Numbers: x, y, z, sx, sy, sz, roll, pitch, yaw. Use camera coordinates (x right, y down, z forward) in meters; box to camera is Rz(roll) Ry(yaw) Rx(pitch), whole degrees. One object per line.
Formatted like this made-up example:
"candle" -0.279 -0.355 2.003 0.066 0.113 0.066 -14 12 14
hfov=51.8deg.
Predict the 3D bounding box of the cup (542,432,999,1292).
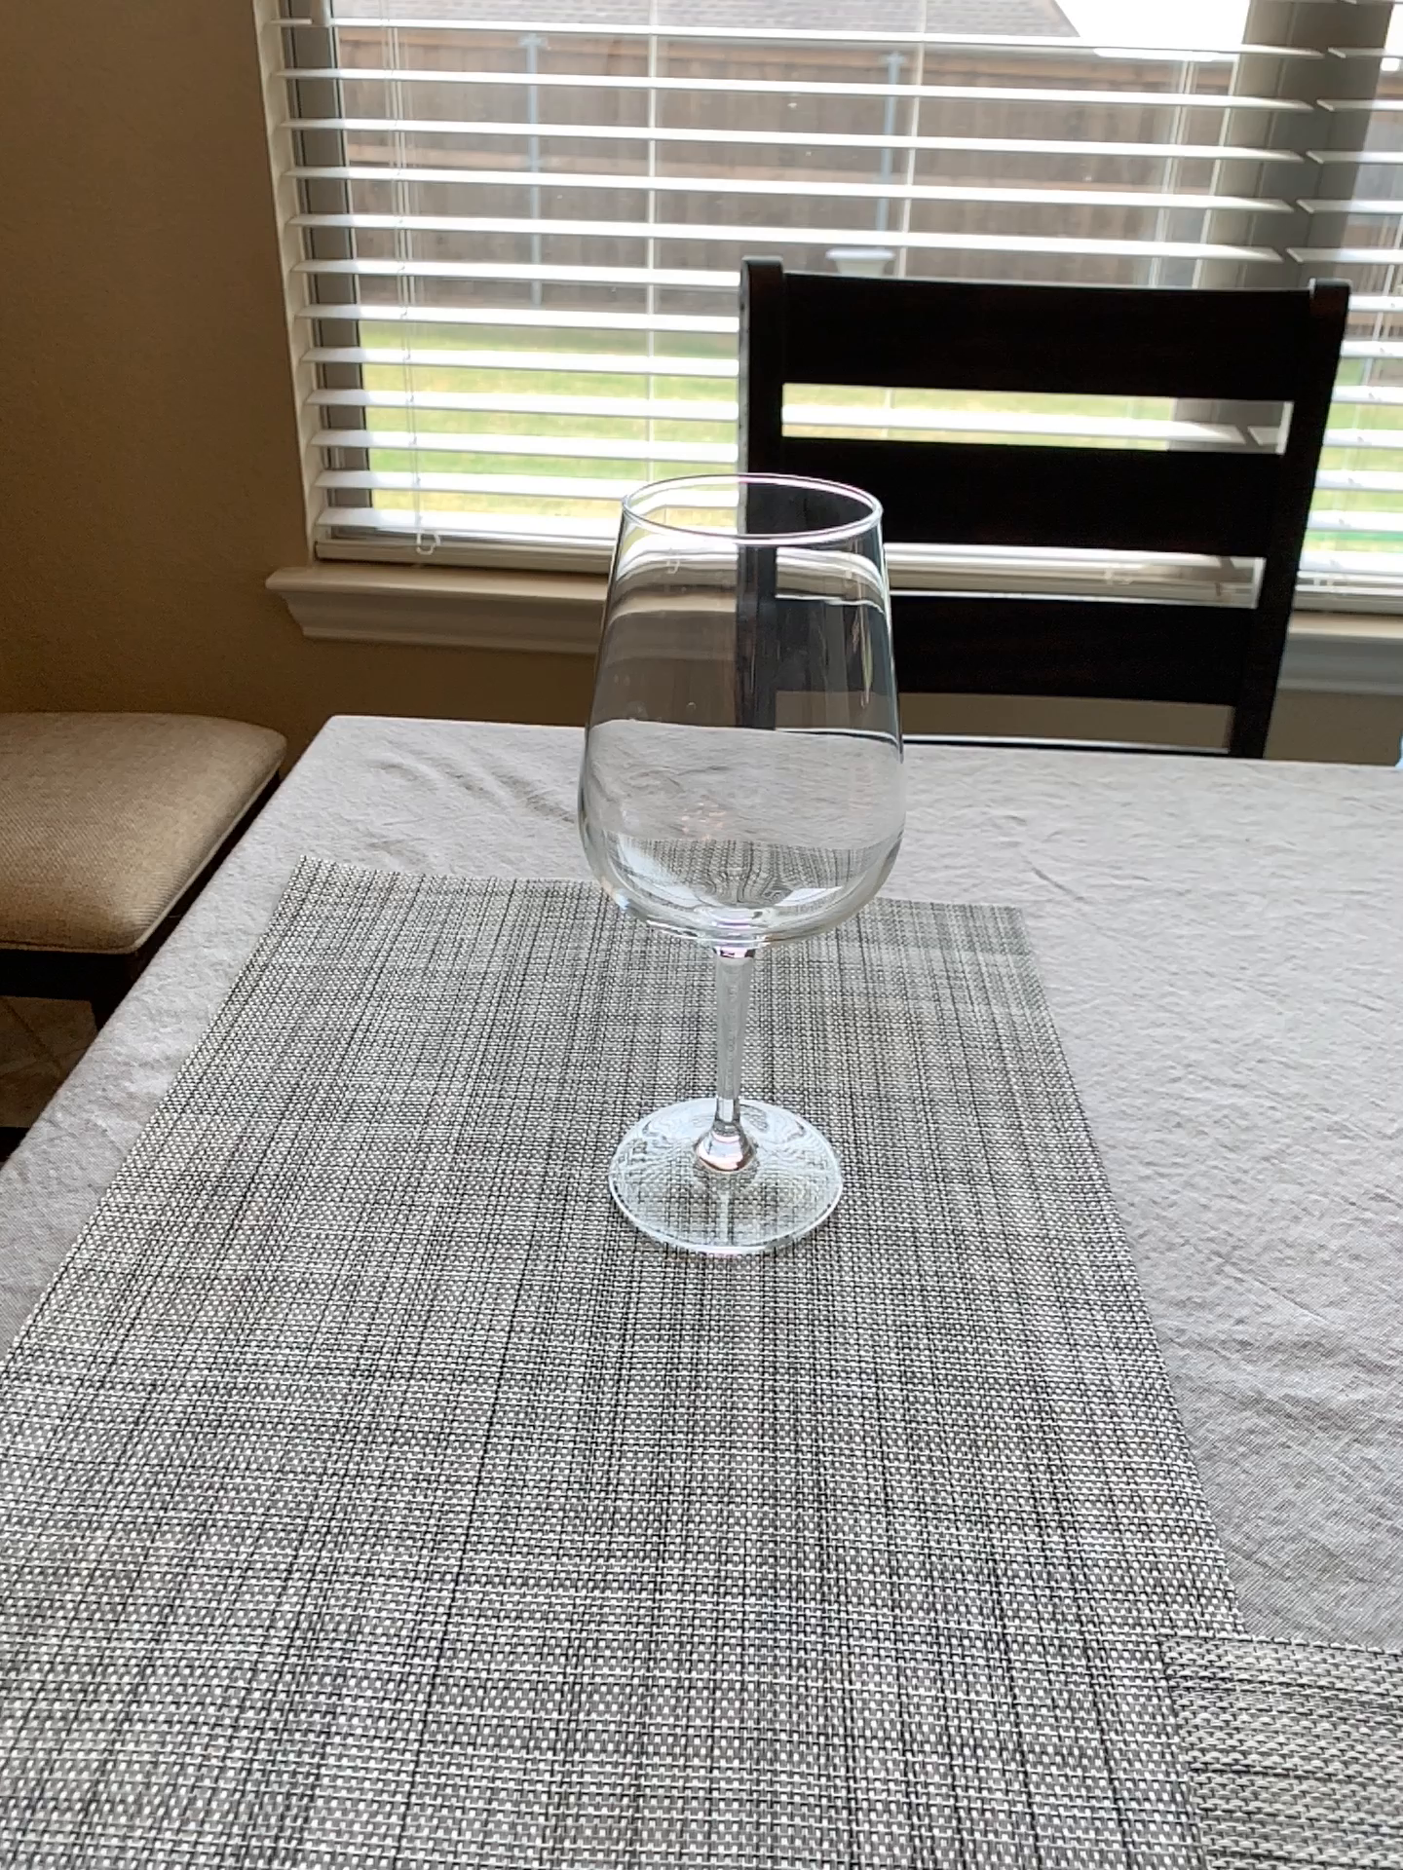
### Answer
"cup" 0.017 -0.020 0.415 0.100 0.214 0.108 2 30 -1
